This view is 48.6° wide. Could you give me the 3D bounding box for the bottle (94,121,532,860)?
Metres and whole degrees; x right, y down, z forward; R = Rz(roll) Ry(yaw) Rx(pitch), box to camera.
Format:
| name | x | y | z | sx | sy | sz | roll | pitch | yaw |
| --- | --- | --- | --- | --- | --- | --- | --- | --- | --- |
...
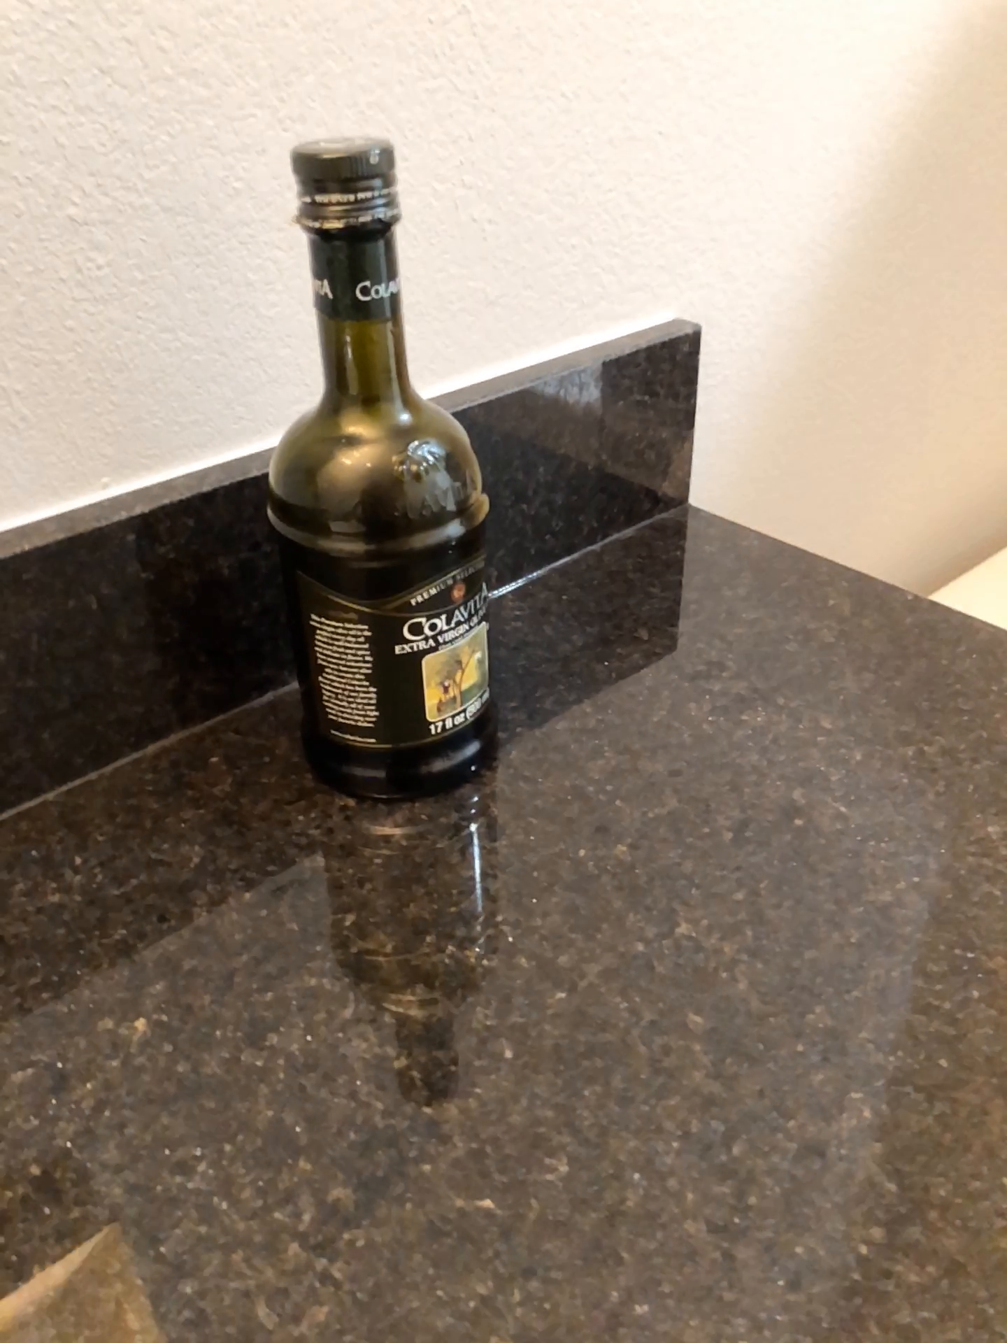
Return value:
| name | x | y | z | sx | sy | sz | roll | pitch | yaw |
| --- | --- | --- | --- | --- | --- | --- | --- | --- | --- |
| bottle | -0.054 | -0.061 | 0.386 | 0.090 | 0.219 | 0.090 | -1 | 33 | 1 |
